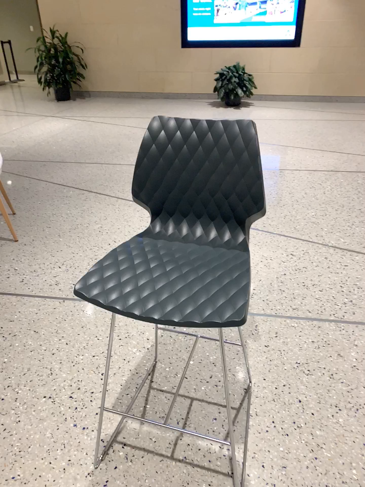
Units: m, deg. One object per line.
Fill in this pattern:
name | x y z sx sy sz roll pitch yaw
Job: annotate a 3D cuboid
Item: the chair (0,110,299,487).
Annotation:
chair | -0.018 0.189 1.114 0.534 0.996 0.535 9 32 17
